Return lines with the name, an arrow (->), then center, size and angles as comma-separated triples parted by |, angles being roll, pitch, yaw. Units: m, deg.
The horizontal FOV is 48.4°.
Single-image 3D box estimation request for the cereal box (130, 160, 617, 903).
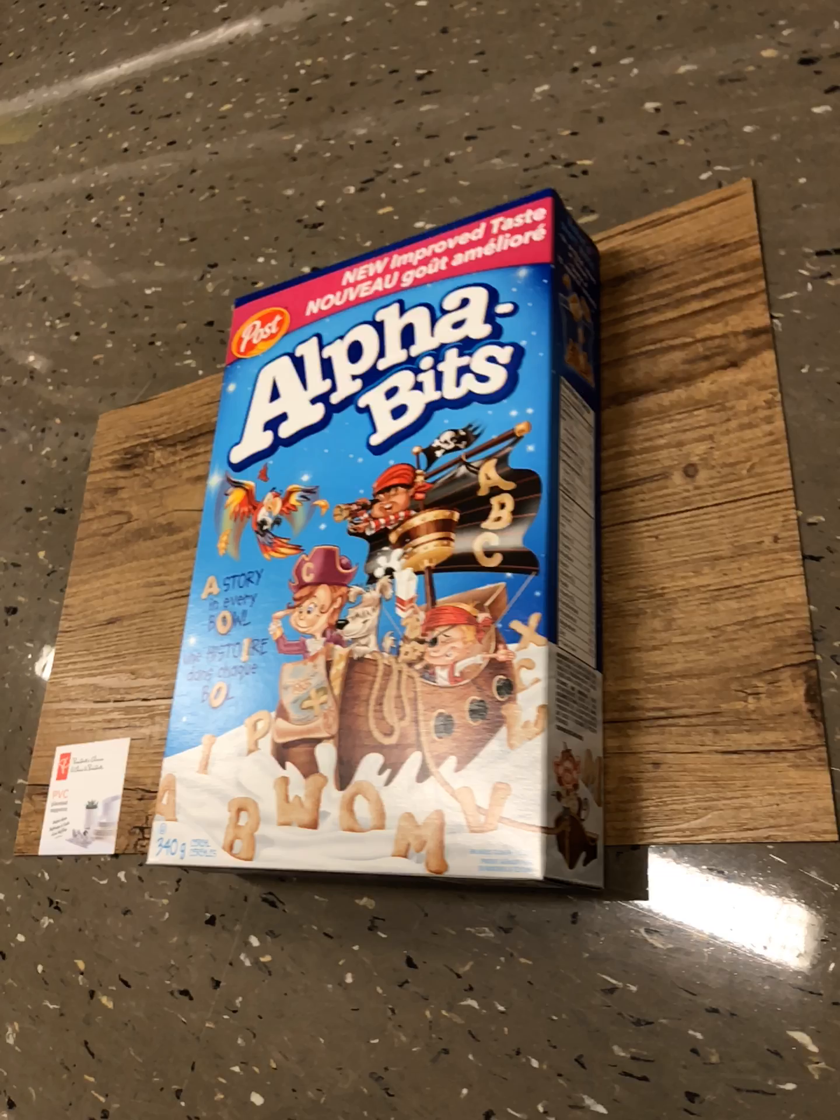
cereal box -> -0.015, -0.012, 0.437 | 0.201, 0.060, 0.310 | -9, 65, 31
